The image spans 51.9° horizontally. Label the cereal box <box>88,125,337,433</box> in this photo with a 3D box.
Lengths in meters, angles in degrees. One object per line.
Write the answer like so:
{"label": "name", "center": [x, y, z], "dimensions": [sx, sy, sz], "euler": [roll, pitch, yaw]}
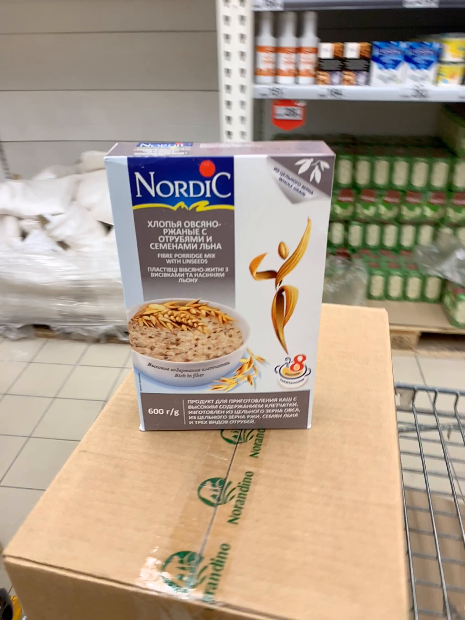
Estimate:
{"label": "cereal box", "center": [-0.010, -0.011, 0.370], "dimensions": [0.150, 0.239, 0.050], "euler": [-1, 31, 0]}
